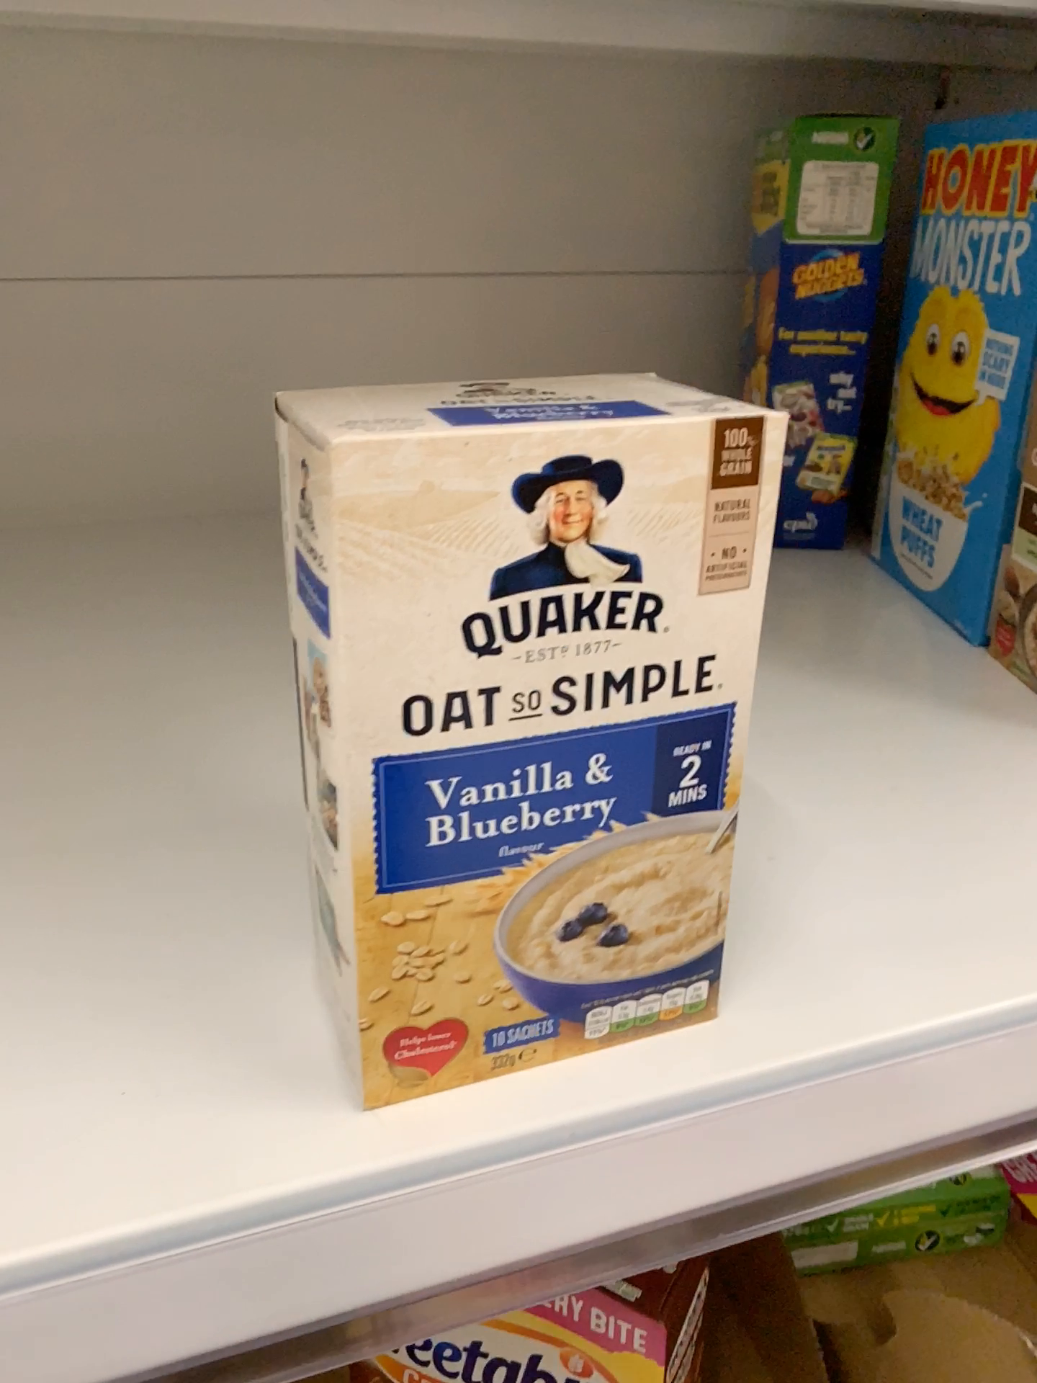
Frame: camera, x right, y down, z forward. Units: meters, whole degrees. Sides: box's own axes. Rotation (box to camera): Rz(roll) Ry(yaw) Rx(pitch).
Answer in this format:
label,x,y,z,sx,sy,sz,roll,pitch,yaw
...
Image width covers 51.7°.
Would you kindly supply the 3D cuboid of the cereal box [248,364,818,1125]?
label,x,y,z,sx,sy,sz,roll,pitch,yaw
cereal box,-0.001,0.012,0.341,0.140,0.208,0.081,-8,26,-19
